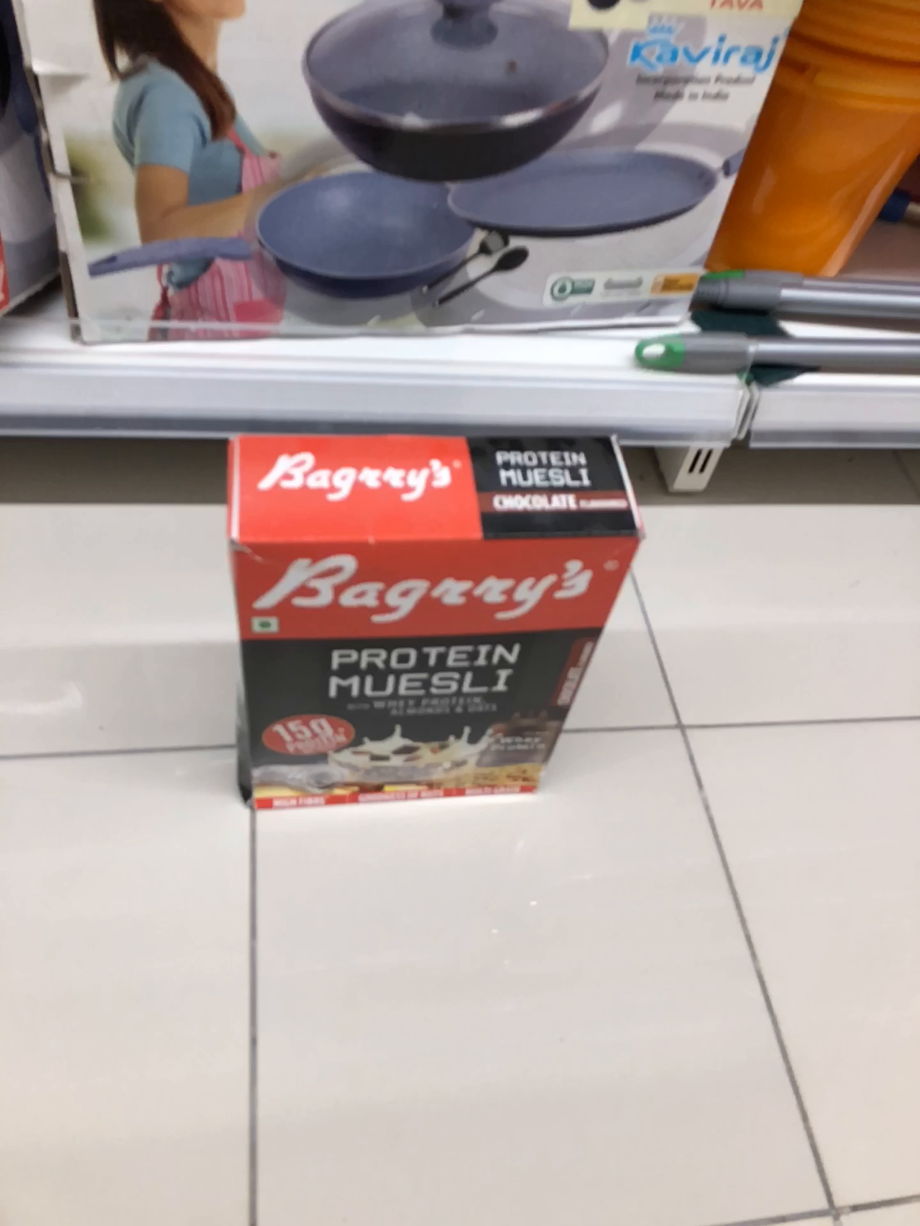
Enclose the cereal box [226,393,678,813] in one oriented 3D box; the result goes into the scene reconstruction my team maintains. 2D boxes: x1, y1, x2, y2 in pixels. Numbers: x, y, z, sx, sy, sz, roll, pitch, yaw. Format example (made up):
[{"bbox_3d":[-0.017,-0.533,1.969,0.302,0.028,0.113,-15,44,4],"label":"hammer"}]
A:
[{"bbox_3d":[-0.019,0.007,0.529,0.190,0.239,0.080,-1,51,-10],"label":"cereal box"}]
